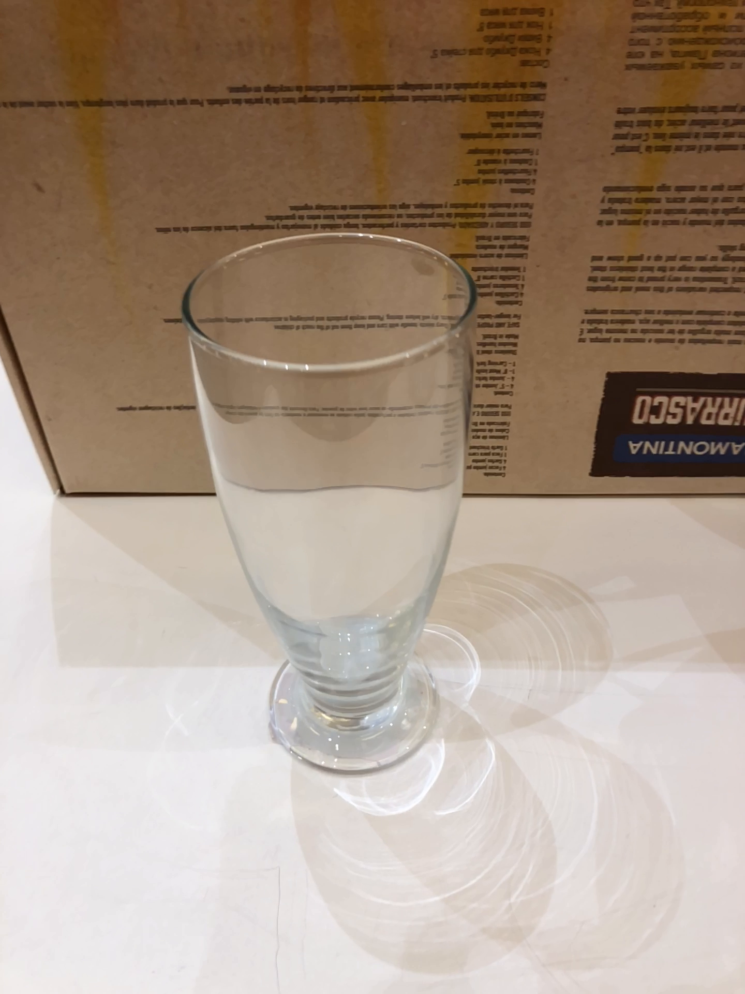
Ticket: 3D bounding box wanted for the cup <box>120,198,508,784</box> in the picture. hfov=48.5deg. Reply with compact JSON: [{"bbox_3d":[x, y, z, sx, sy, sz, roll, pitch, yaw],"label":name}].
[{"bbox_3d":[-0.011,0.008,0.282,0.090,0.189,0.081,-1,39,1],"label":"cup"}]
